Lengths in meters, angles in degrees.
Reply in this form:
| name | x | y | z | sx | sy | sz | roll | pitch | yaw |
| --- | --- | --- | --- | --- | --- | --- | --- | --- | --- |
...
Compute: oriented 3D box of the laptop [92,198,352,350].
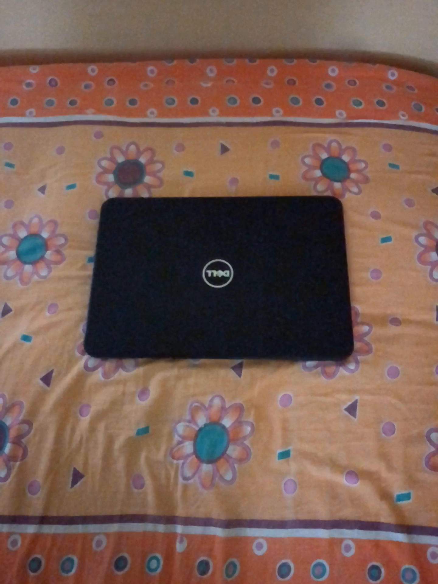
| name | x | y | z | sx | sy | sz | roll | pitch | yaw |
| --- | --- | --- | --- | --- | --- | --- | --- | --- | --- |
| laptop | 0.001 | -0.033 | 0.708 | 0.358 | 0.001 | 0.236 | 0 | 70 | 3 |
